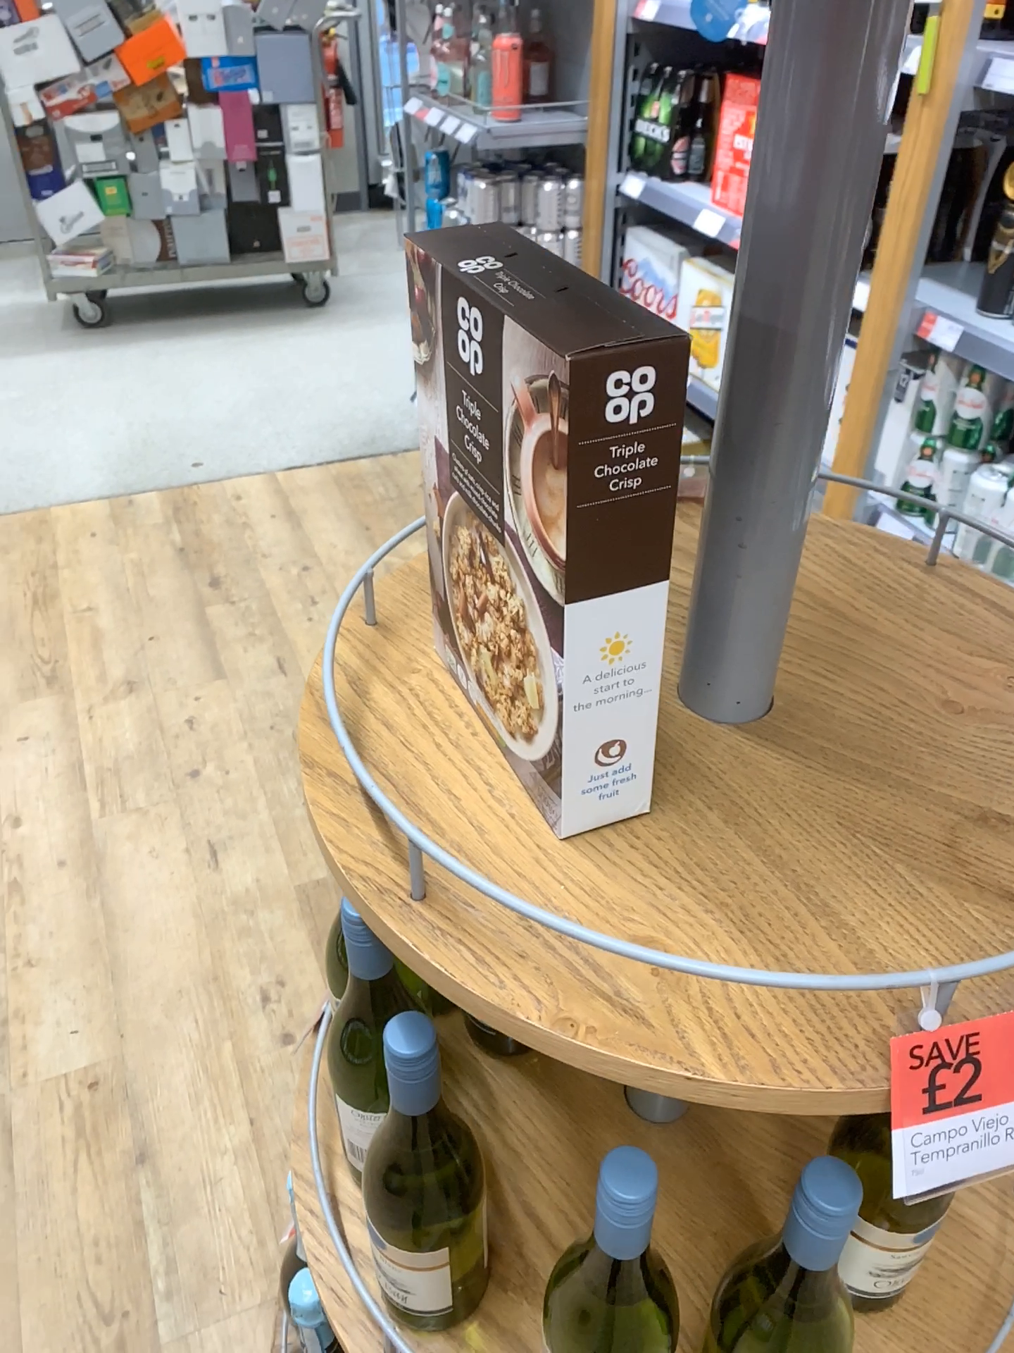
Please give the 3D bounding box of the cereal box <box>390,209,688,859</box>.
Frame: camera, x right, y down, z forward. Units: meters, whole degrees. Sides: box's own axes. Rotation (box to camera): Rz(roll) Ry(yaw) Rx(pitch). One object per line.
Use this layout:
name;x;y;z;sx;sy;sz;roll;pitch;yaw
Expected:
cereal box;0.006;-0.070;0.505;0.050;0.247;0.192;-15;39;-17
